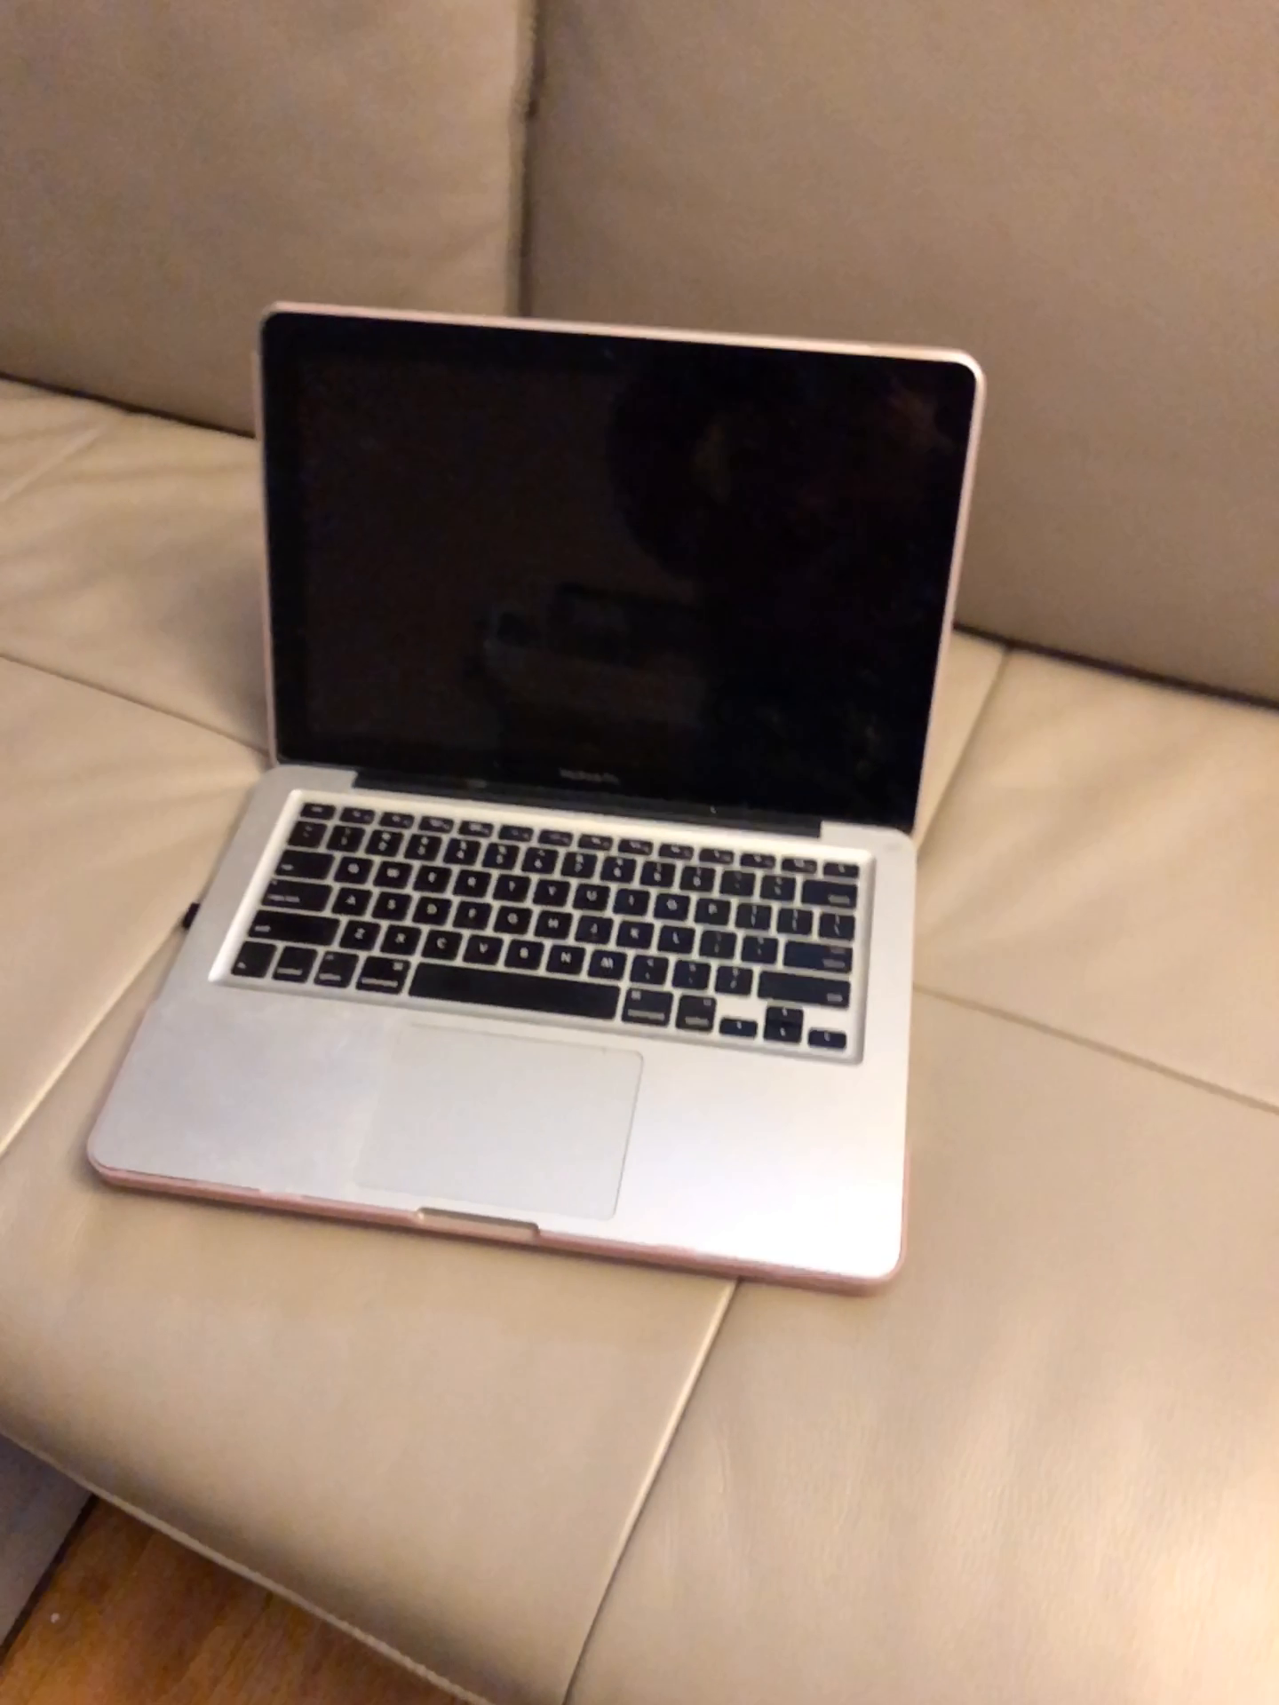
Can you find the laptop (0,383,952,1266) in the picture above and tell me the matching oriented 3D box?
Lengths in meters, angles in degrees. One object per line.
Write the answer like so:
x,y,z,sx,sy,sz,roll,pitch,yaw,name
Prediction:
-0.043,-0.028,0.563,0.305,0.177,0.307,7,47,7,laptop
